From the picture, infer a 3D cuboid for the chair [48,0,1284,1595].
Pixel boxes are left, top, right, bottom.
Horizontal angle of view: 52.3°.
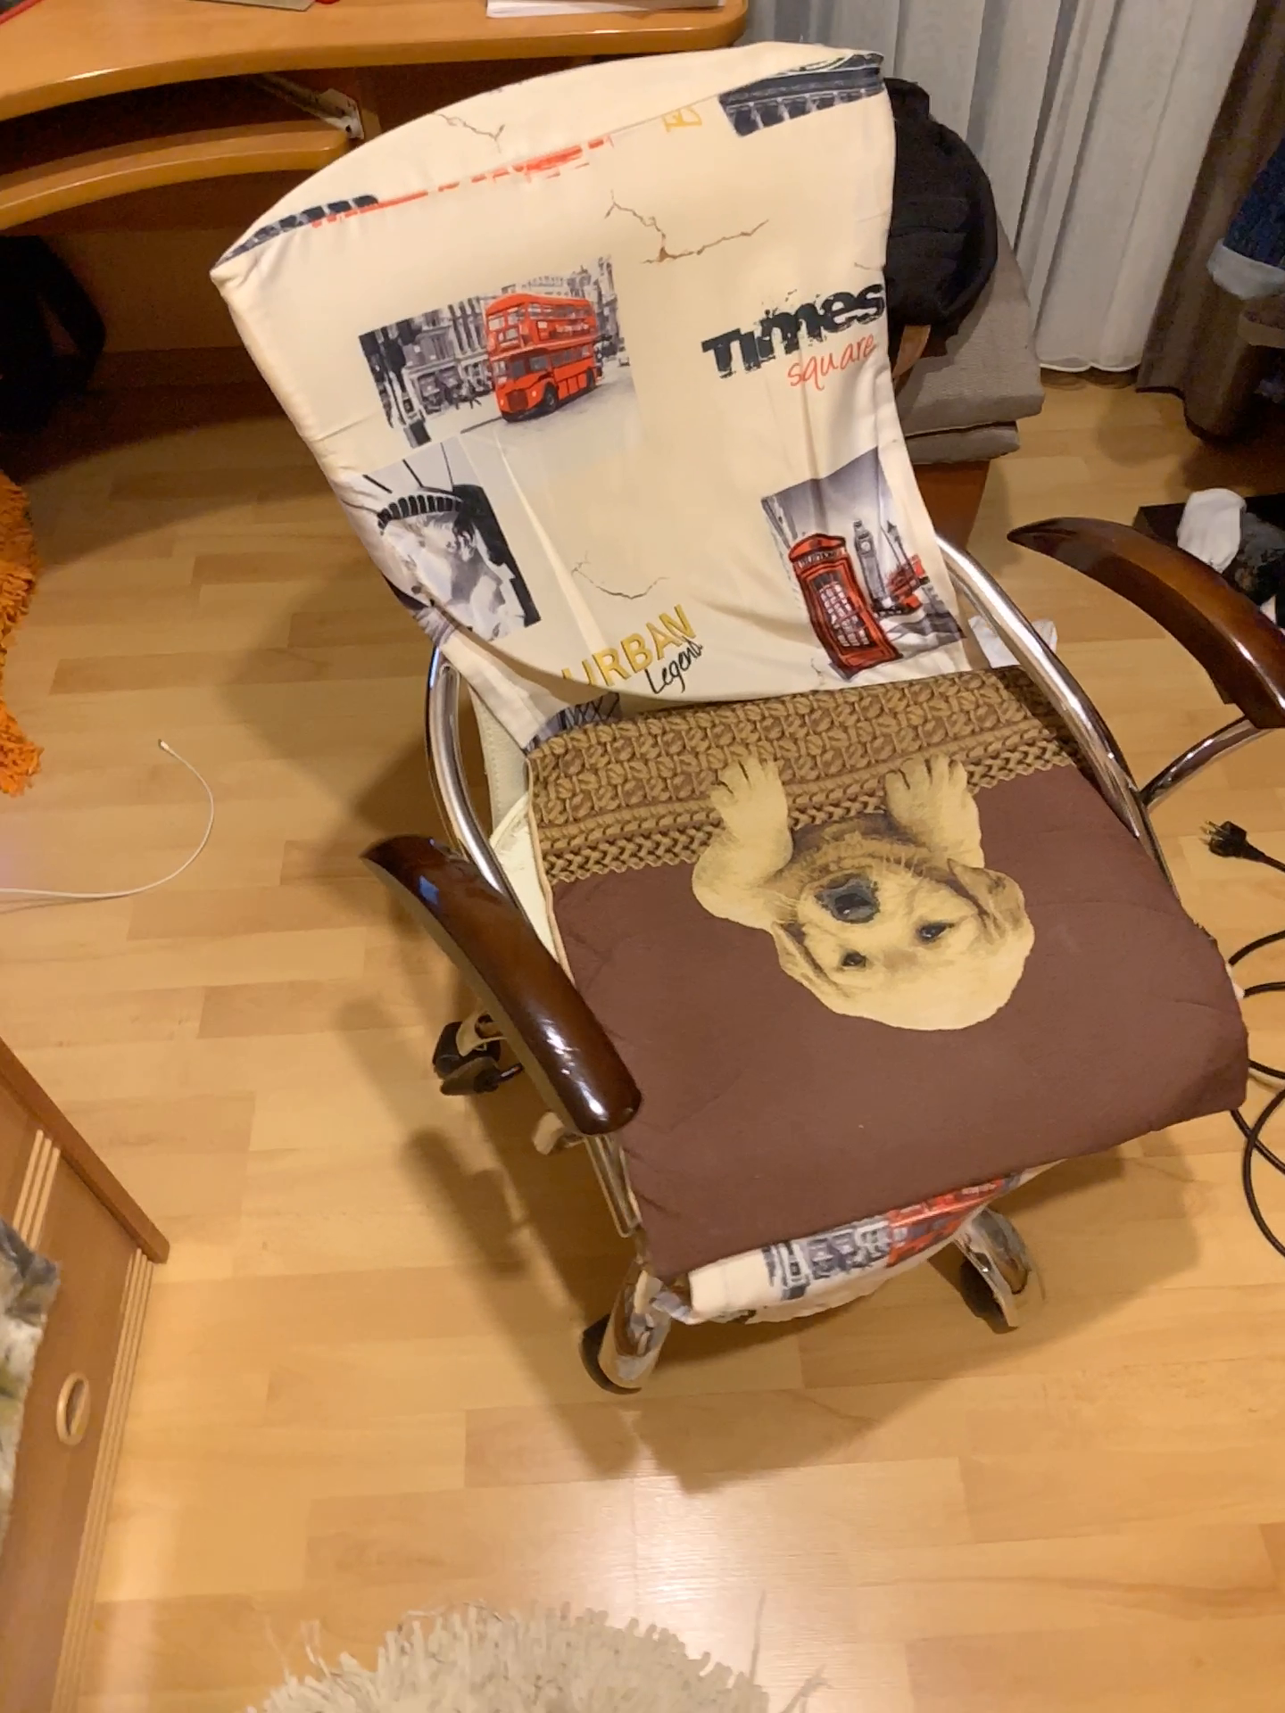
[{"bbox_3d":[0.070,-0.016,0.803,0.475,0.665,0.566,-26,57,-19],"label":"chair"}]
